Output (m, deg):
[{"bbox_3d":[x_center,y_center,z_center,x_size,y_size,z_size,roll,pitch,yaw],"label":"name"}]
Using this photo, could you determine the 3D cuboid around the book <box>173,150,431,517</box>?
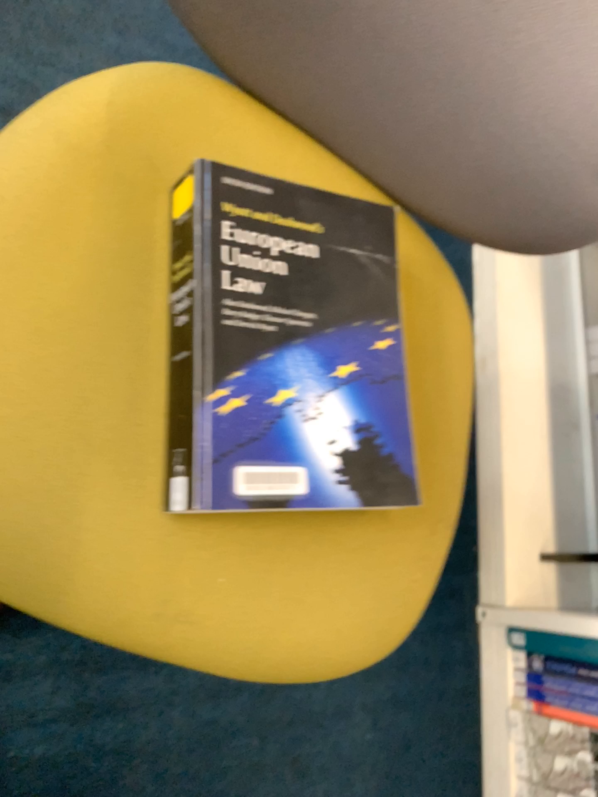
[{"bbox_3d":[0.001,-0.040,0.476,0.181,0.060,0.251,4,76,-28],"label":"book"}]
